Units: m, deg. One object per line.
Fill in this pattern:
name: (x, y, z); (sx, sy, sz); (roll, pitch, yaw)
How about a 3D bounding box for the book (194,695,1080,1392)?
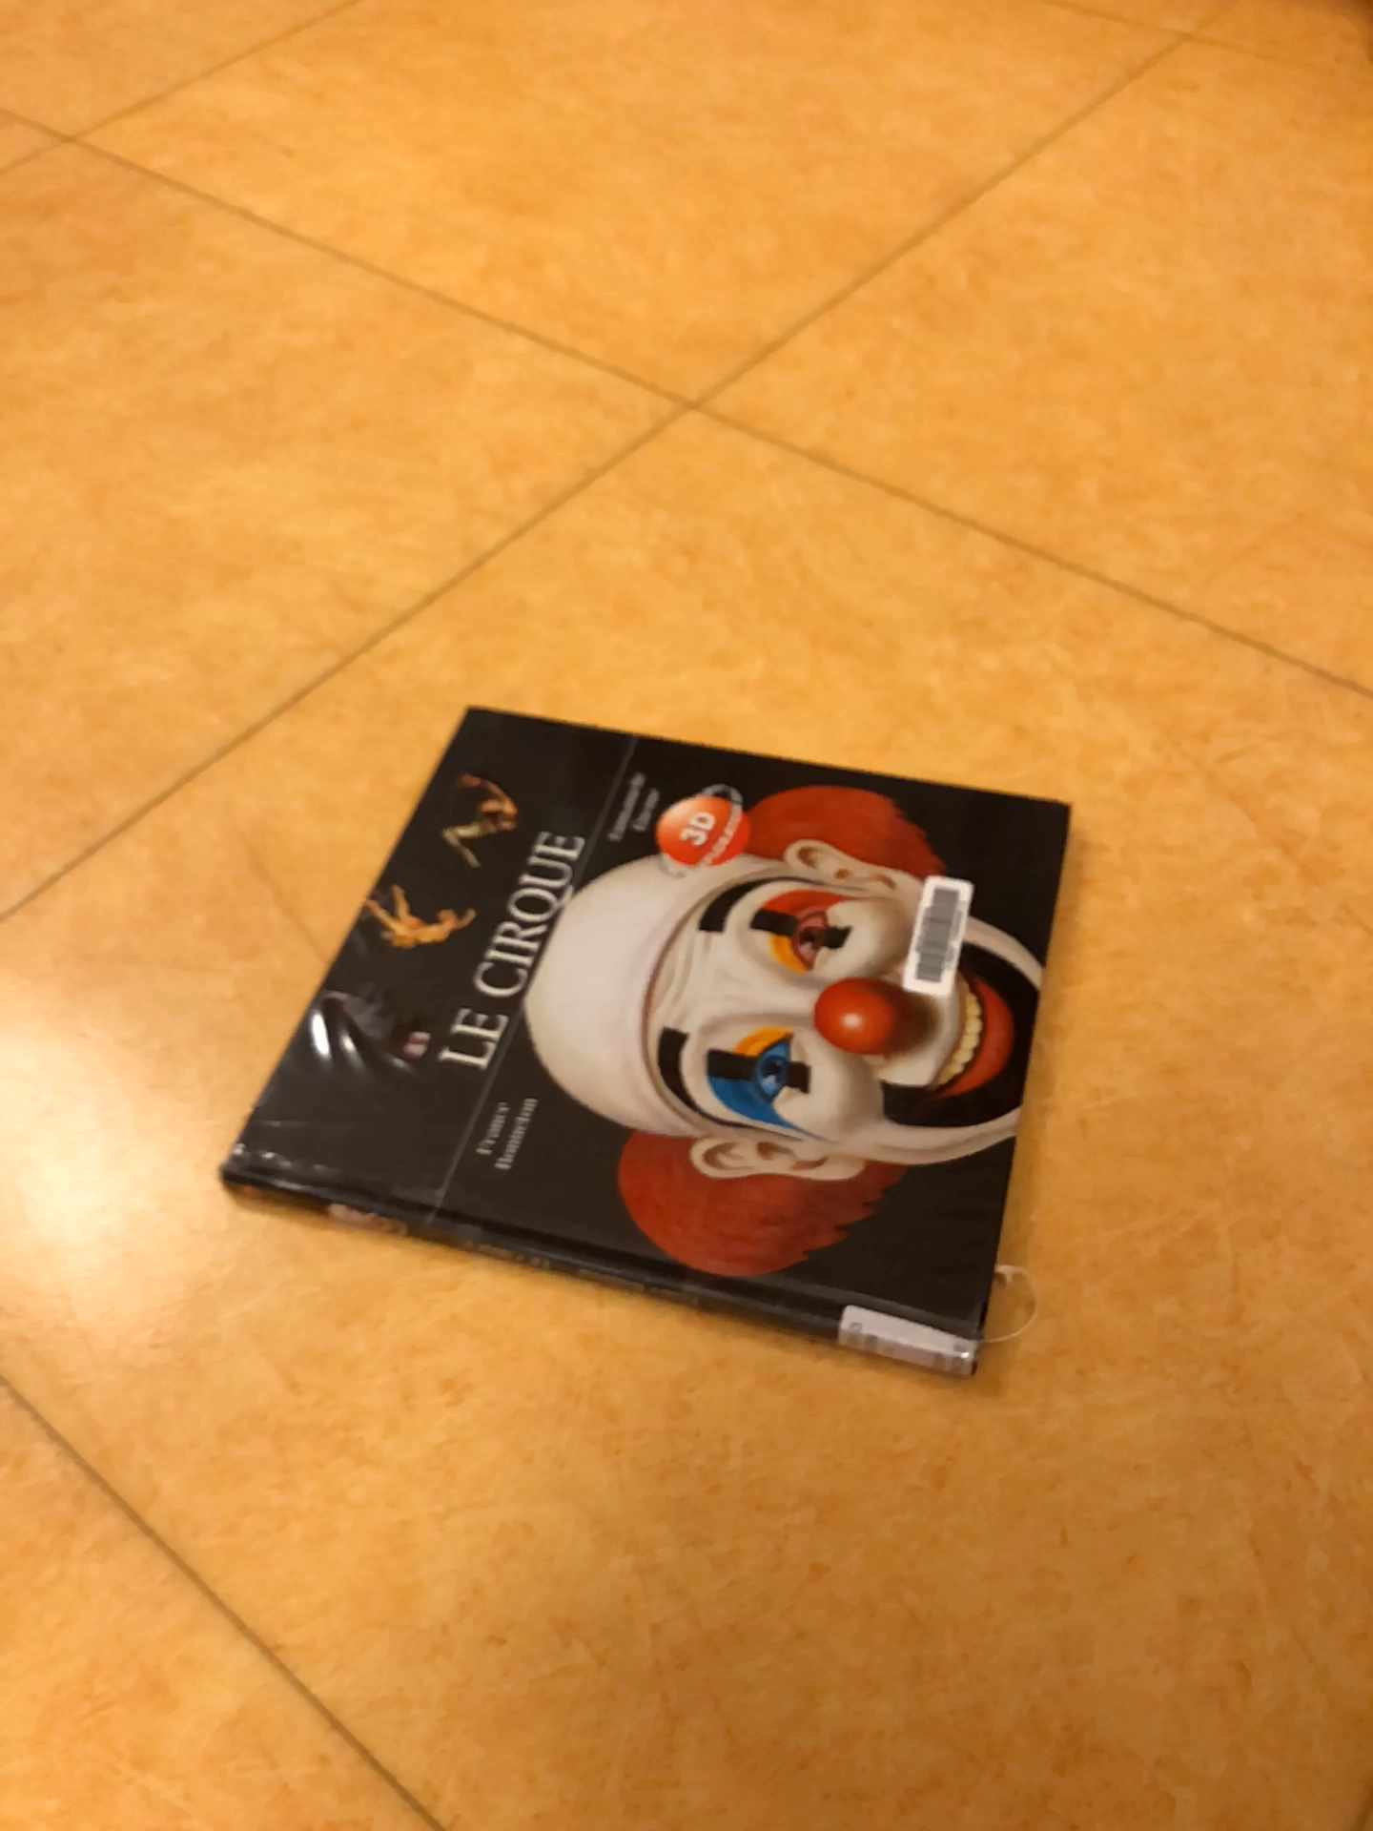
book: (-0.004, 0.022, 0.493); (0.233, 0.012, 0.215); (11, 52, 12)
